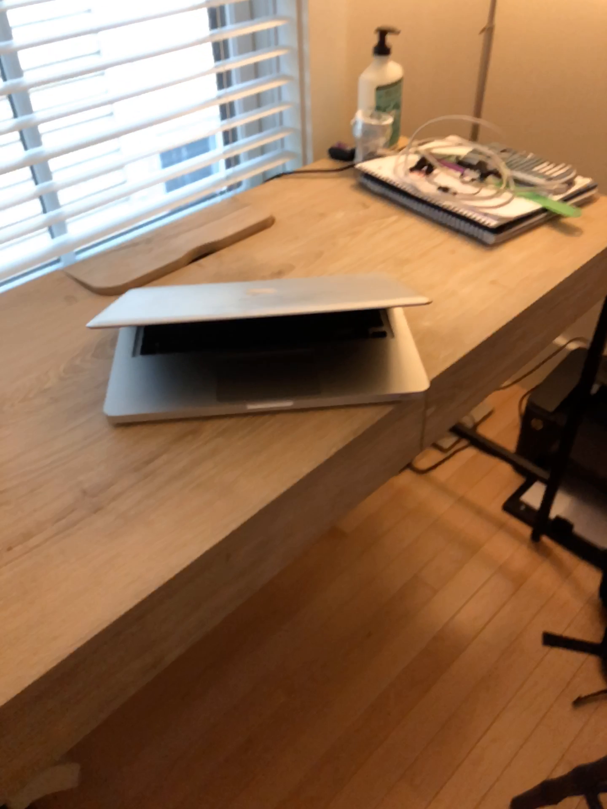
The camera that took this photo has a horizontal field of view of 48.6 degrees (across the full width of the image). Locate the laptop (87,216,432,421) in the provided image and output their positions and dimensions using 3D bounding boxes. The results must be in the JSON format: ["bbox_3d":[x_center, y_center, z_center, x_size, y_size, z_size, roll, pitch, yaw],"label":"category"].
[{"bbox_3d":[-0.045,-0.097,0.690,0.300,0.082,0.210,-5,42,-3],"label":"laptop"}]
